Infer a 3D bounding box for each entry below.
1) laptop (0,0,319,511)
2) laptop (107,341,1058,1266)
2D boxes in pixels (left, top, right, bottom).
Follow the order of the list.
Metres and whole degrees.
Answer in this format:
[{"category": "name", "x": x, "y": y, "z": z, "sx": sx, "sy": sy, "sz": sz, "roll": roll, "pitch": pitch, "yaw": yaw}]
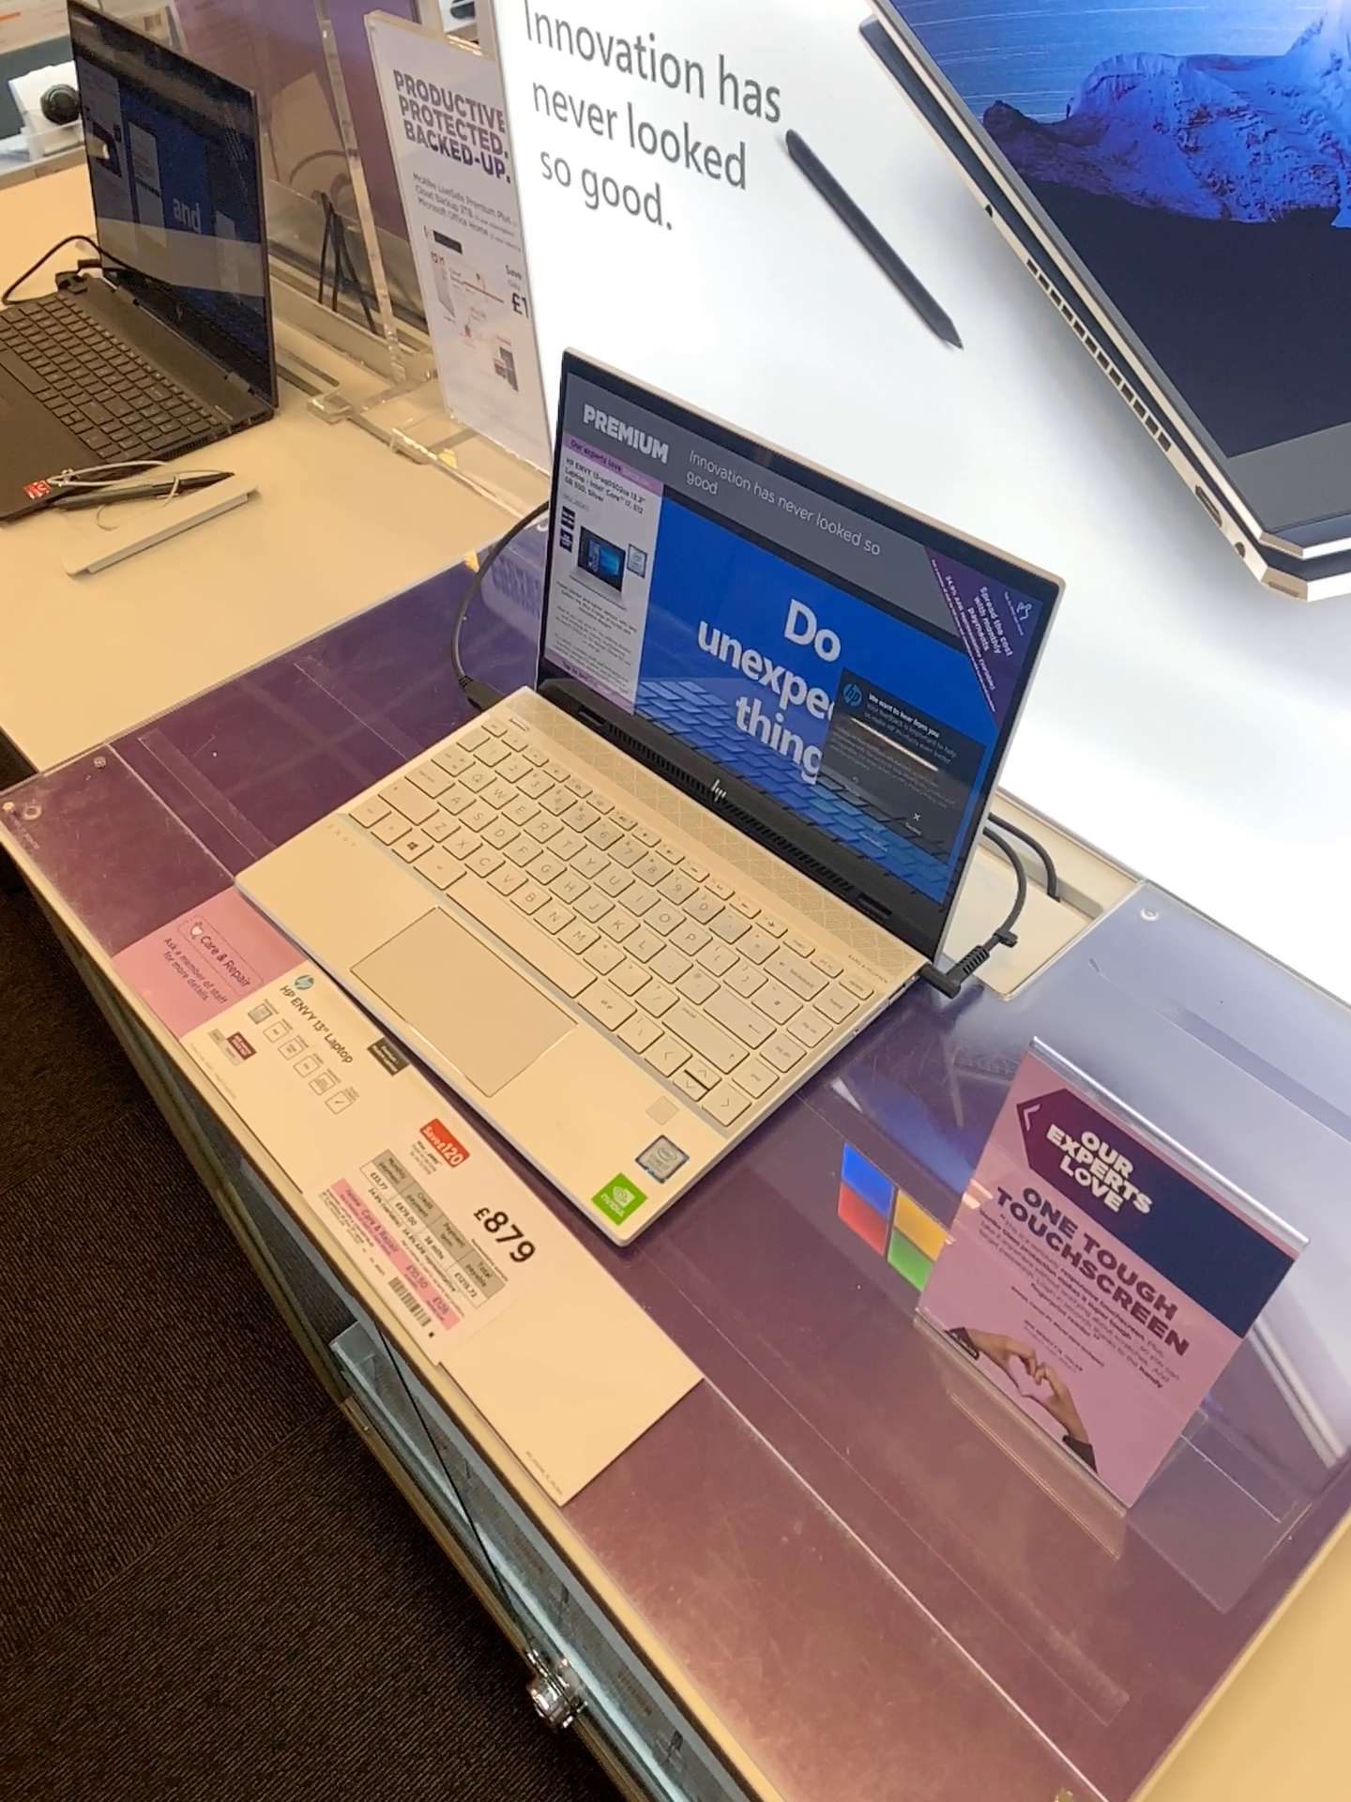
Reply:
[{"category": "laptop", "x": -0.552, "y": -0.571, "z": 1.186, "sx": 0.313, "sy": 0.236, "sz": 0.300, "roll": -37, "pitch": 58, "yaw": -25}, {"category": "laptop", "x": -0.039, "y": -0.066, "z": 0.625, "sx": 0.261, "sy": 0.181, "sz": 0.296, "roll": -38, "pitch": 56, "yaw": -25}]
